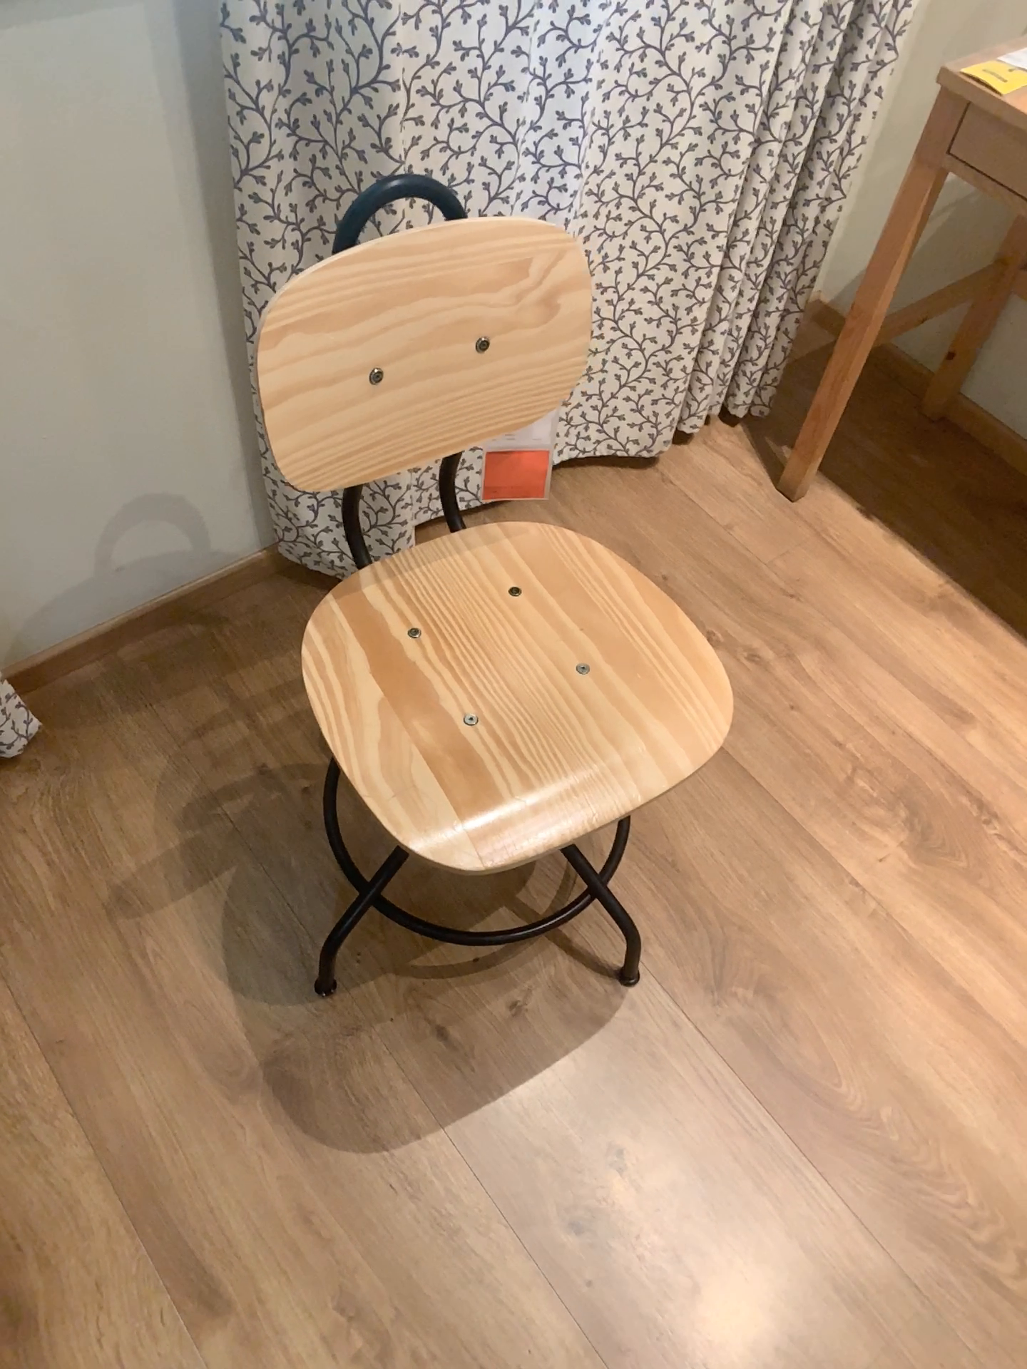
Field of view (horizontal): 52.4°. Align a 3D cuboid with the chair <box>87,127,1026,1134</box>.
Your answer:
[{"bbox_3d":[0.001,-0.050,1.024,0.491,0.598,0.631,-24,60,-21],"label":"chair"}]
